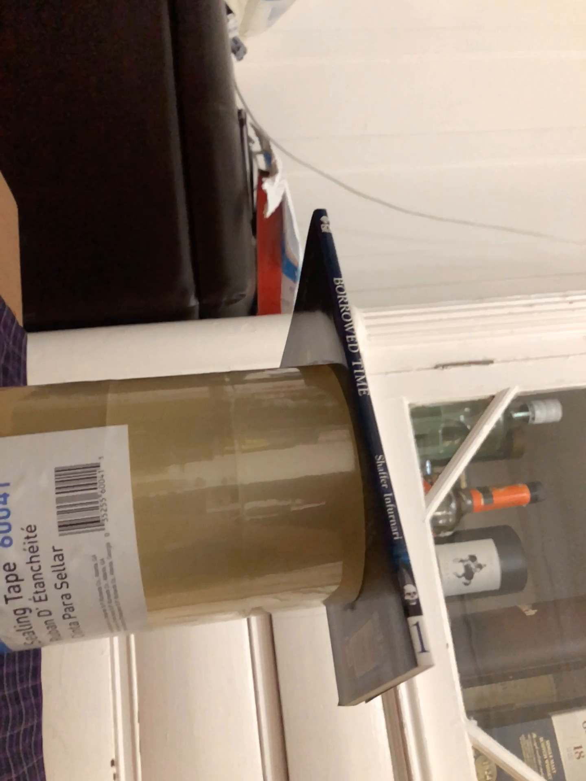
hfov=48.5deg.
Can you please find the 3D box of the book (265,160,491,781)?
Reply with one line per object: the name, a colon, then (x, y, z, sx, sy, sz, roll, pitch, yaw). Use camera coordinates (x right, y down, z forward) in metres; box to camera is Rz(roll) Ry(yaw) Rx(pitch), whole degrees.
book: (0.016, 0.040, 0.289, 0.160, 0.010, 0.230, 99, -19, -58)
